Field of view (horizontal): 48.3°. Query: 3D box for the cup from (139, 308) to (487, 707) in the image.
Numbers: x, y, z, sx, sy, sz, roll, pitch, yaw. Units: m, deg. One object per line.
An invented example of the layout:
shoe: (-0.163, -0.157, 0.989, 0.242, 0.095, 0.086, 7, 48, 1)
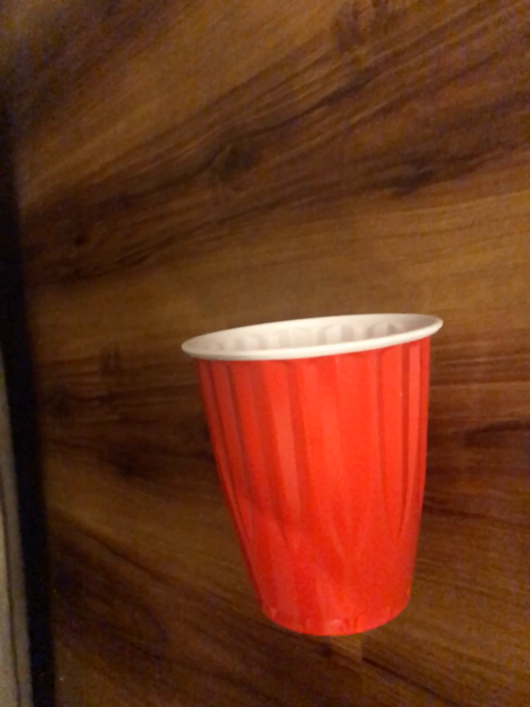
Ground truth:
cup: (0.020, 0.044, 0.239, 0.100, 0.089, 0.114, 5, 103, 48)
